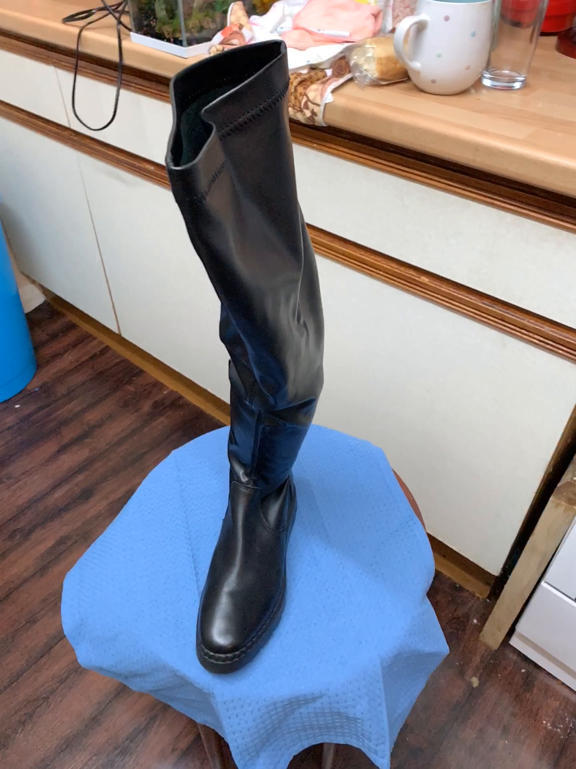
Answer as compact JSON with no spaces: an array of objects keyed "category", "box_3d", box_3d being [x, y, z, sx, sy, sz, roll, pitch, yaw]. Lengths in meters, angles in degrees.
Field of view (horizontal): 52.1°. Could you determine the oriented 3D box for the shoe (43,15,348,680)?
[{"category":"shoe","box_3d":[-0.032,0.005,0.534,0.106,0.535,0.273,7,42,8]}]
